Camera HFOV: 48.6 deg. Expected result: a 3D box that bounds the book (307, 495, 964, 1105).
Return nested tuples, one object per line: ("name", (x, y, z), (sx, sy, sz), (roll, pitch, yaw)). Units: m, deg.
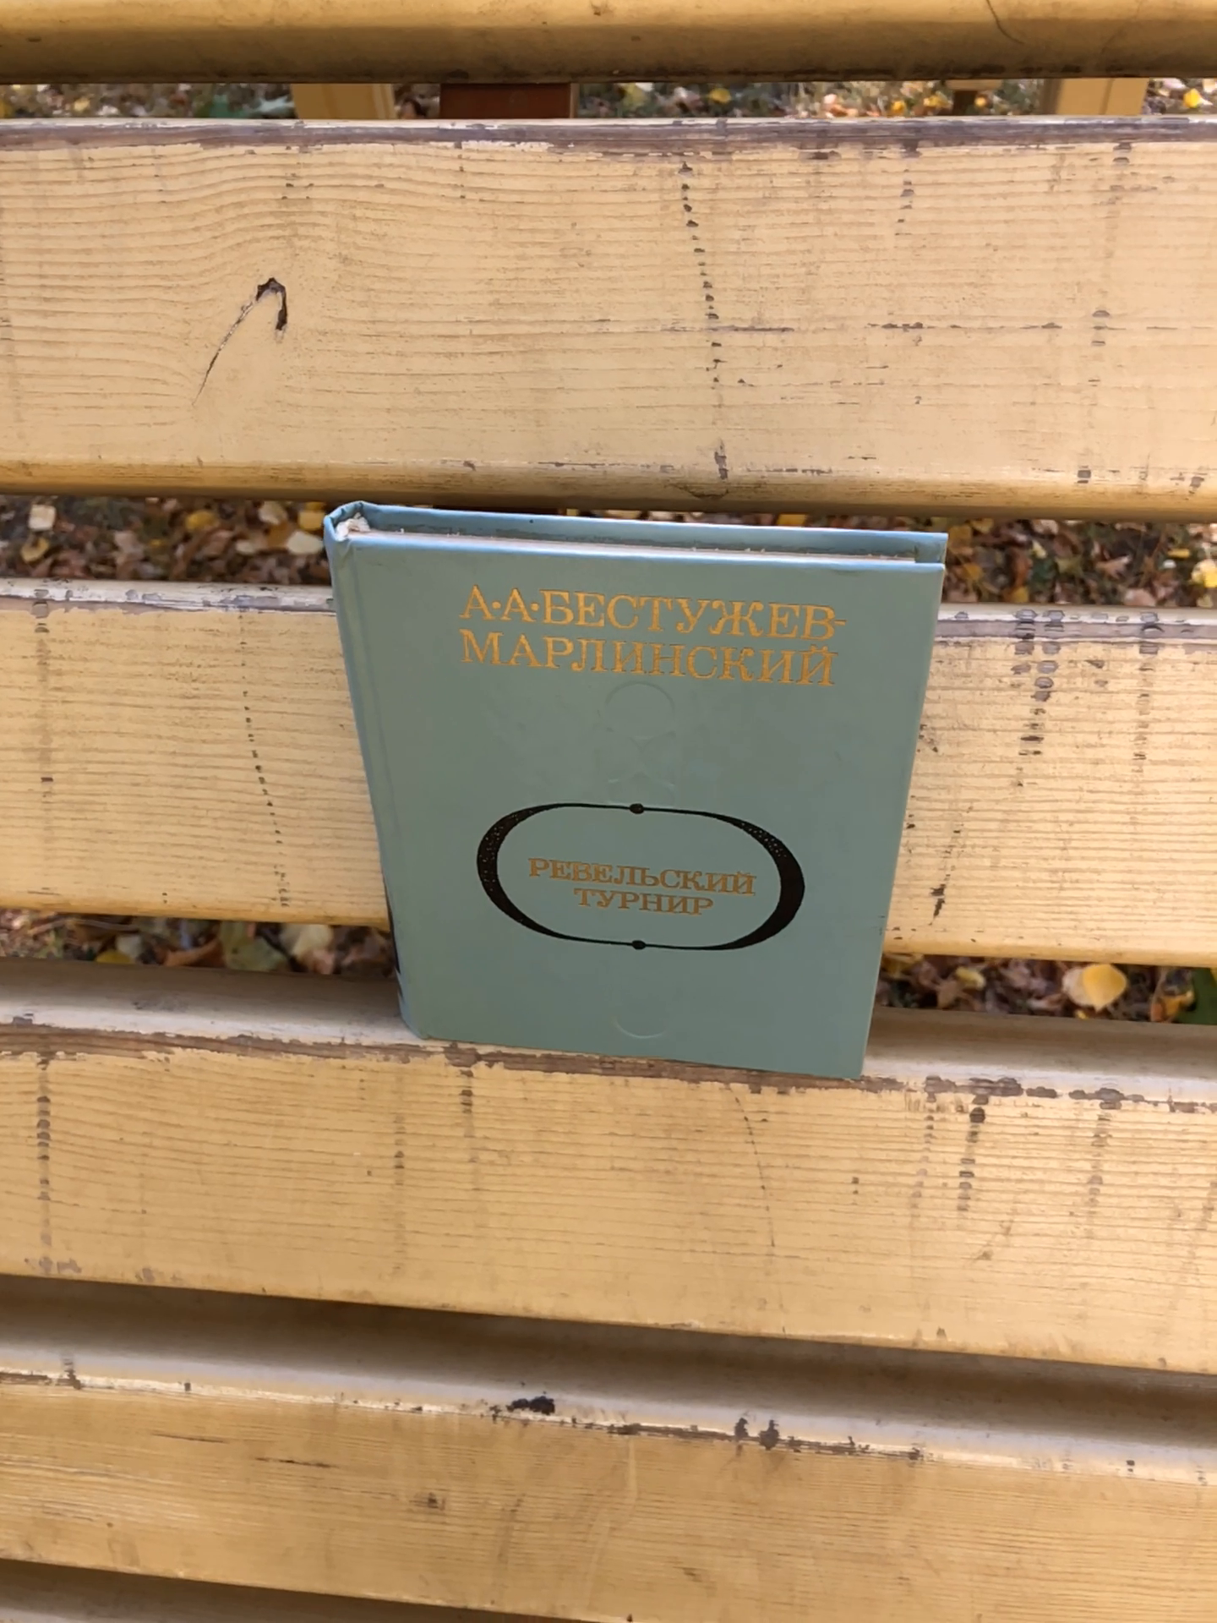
("book", (0.008, 0.005, 0.346), (0.140, 0.169, 0.022), (6, 42, 10))
